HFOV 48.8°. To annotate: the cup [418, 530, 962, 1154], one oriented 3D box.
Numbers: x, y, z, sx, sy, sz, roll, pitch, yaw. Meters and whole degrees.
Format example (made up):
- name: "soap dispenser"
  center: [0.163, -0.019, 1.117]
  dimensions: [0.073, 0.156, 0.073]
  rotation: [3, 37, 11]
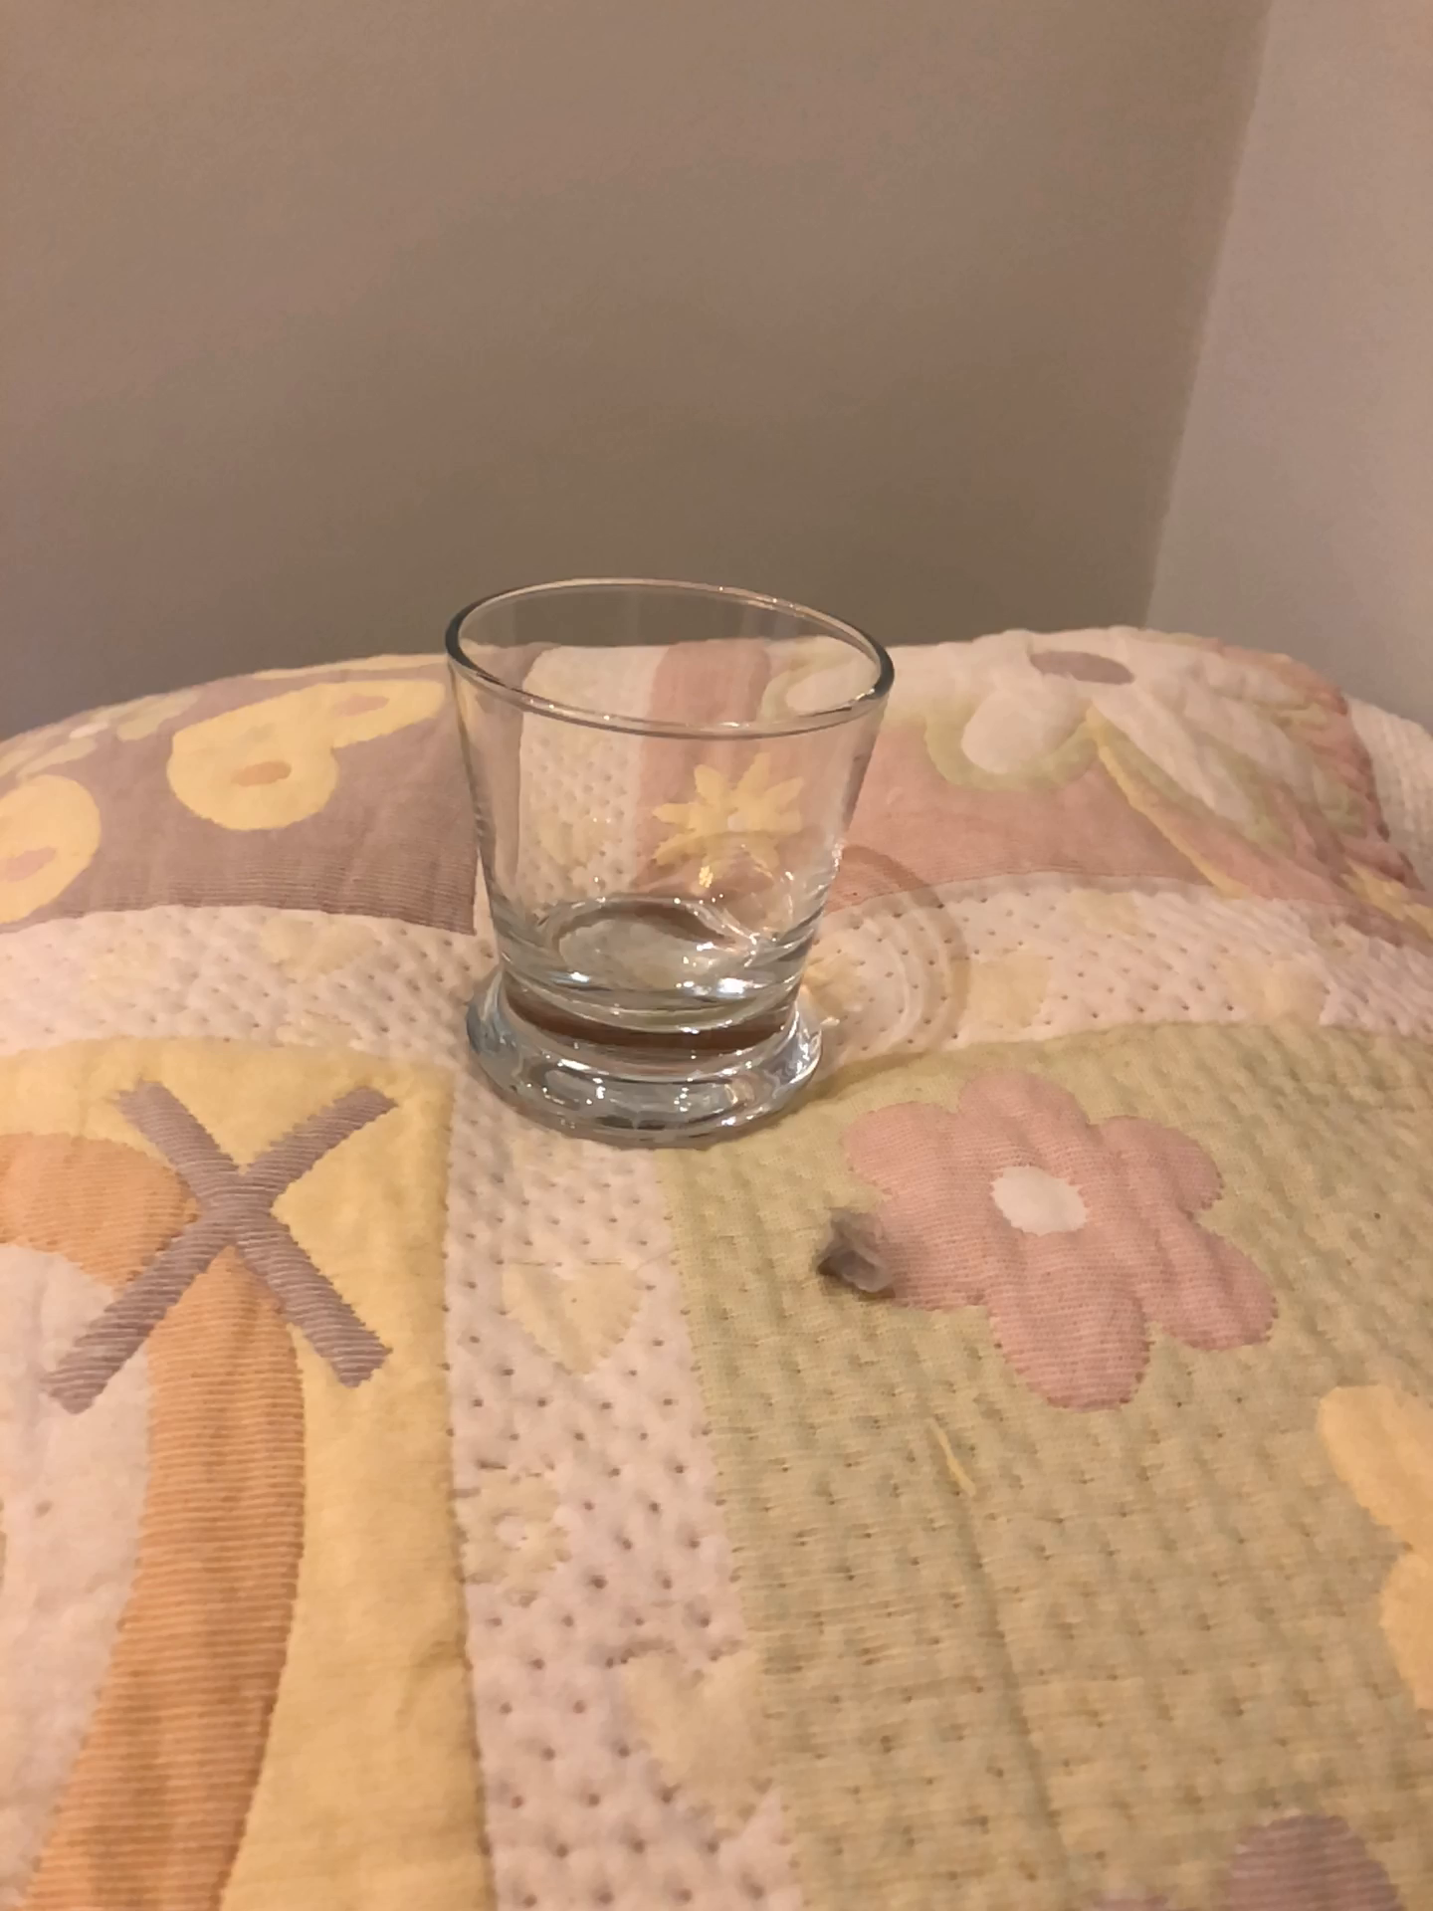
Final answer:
- name: "cup"
  center: [-0.013, -0.024, 0.306]
  dimensions: [0.080, 0.089, 0.080]
  rotation: [6, 30, -4]
